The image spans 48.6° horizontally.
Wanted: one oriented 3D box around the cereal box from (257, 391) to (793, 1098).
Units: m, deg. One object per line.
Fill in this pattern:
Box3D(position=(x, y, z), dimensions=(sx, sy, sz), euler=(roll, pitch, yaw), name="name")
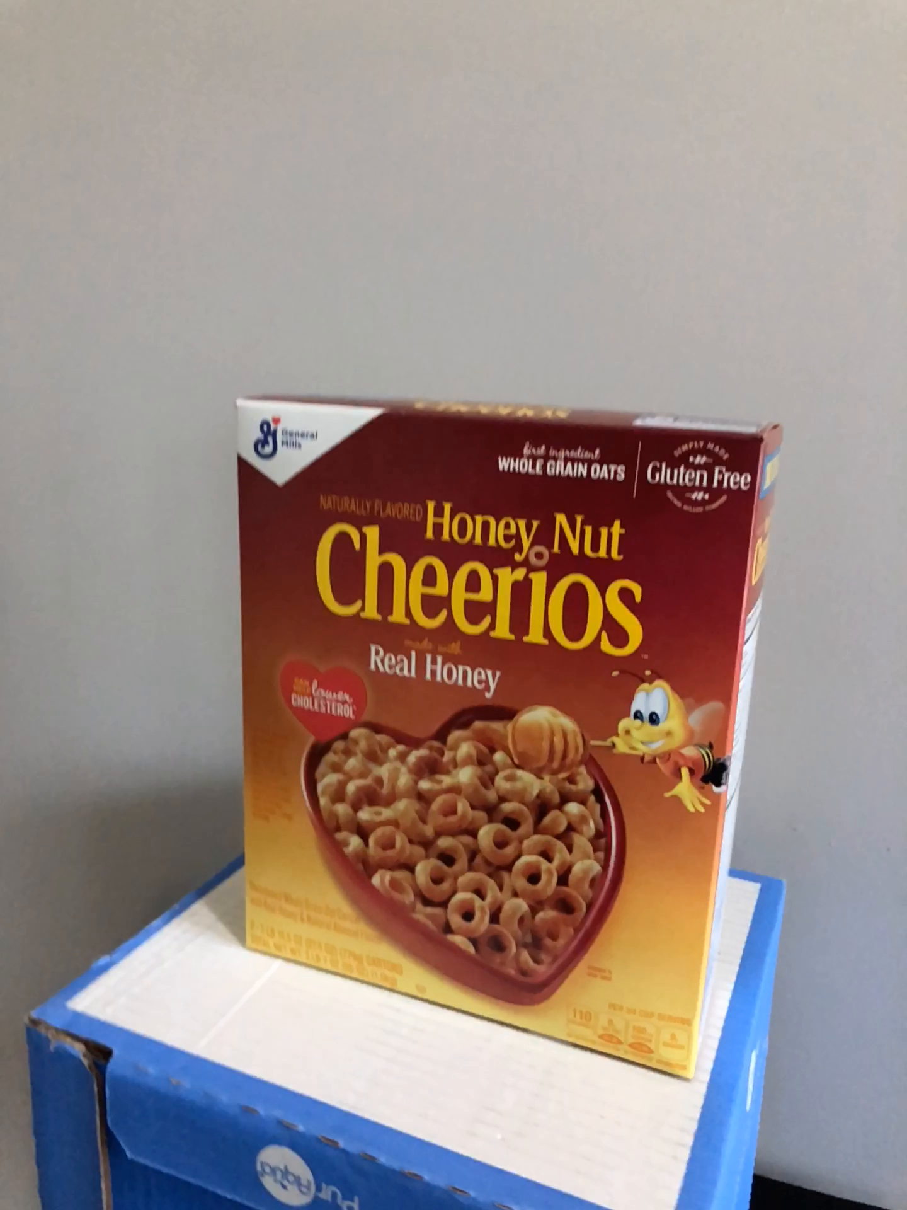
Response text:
Box3D(position=(0.026, 0.056, 0.513), dimensions=(0.240, 0.309, 0.080), euler=(8, 15, 22), name="cereal box")
